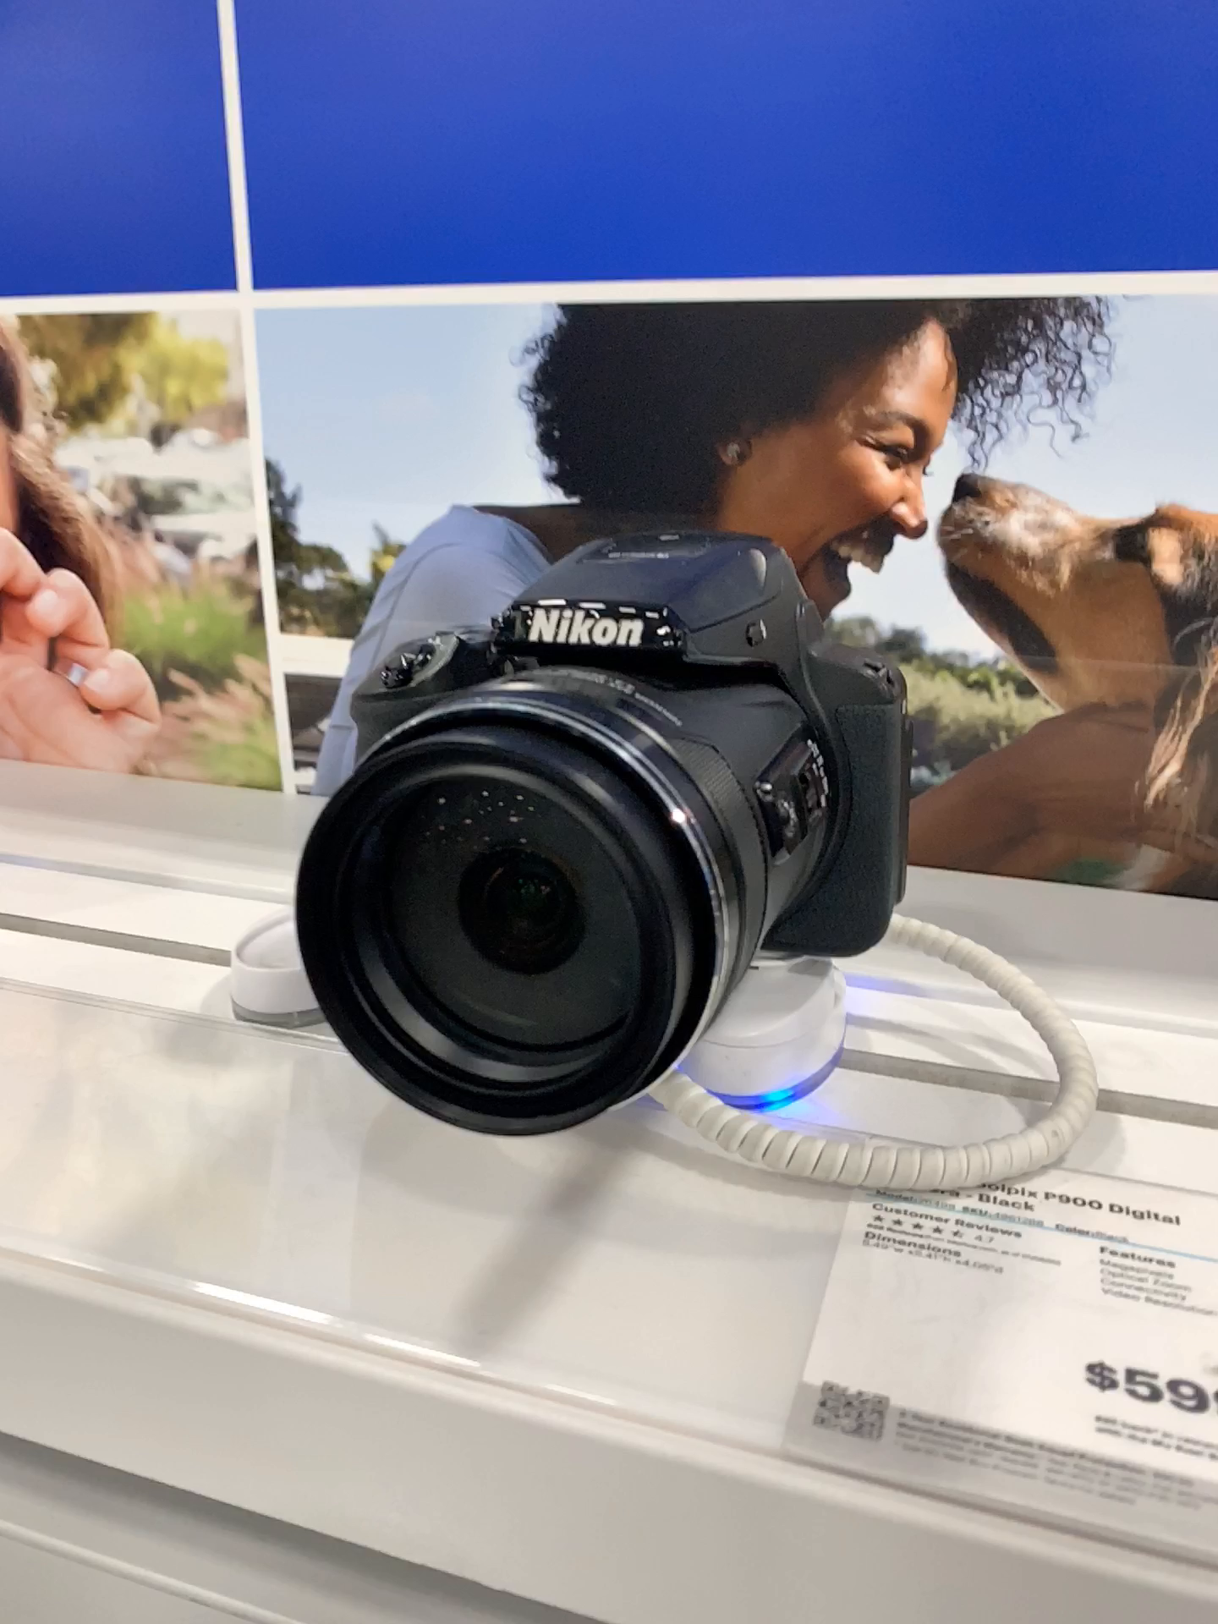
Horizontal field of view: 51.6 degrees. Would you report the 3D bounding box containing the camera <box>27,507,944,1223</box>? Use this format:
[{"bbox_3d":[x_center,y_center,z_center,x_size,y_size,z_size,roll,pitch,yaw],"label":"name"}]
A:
[{"bbox_3d":[-0.010,-0.010,0.274,0.140,0.100,0.153,7,14,17],"label":"camera"}]
